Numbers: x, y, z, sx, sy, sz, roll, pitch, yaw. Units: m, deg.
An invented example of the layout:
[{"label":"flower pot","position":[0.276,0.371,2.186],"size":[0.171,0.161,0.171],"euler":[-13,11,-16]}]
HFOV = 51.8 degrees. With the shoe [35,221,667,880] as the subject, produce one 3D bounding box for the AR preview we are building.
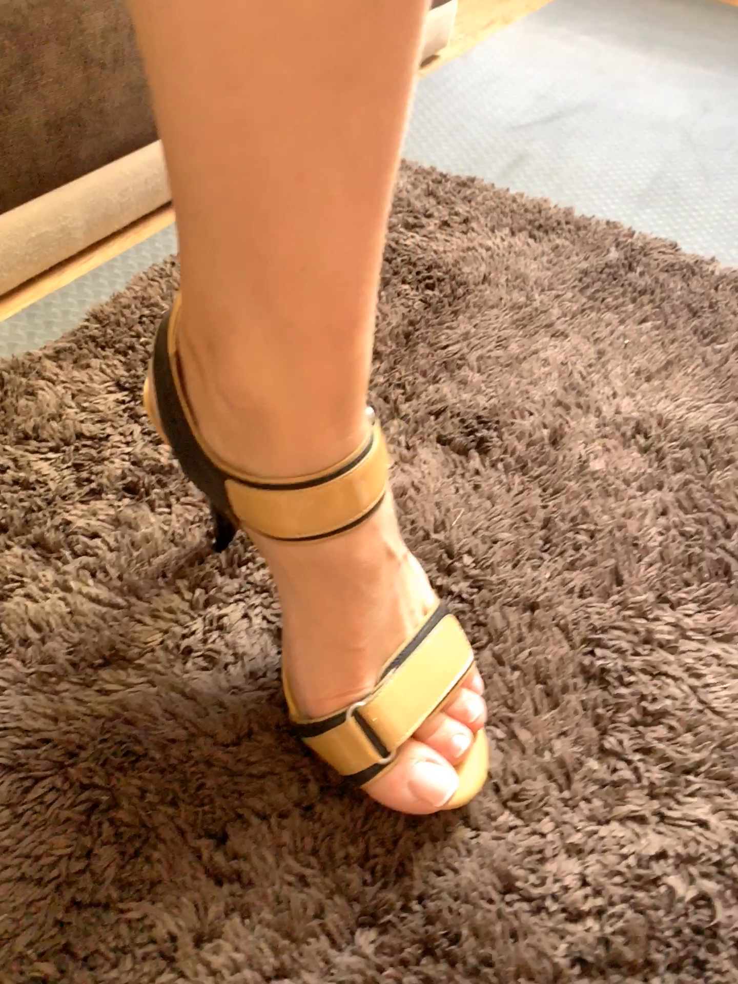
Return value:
[{"label":"shoe","position":[-0.021,0.017,0.299],"size":[0.090,0.149,0.200],"euler":[-34,59,-32]}]
